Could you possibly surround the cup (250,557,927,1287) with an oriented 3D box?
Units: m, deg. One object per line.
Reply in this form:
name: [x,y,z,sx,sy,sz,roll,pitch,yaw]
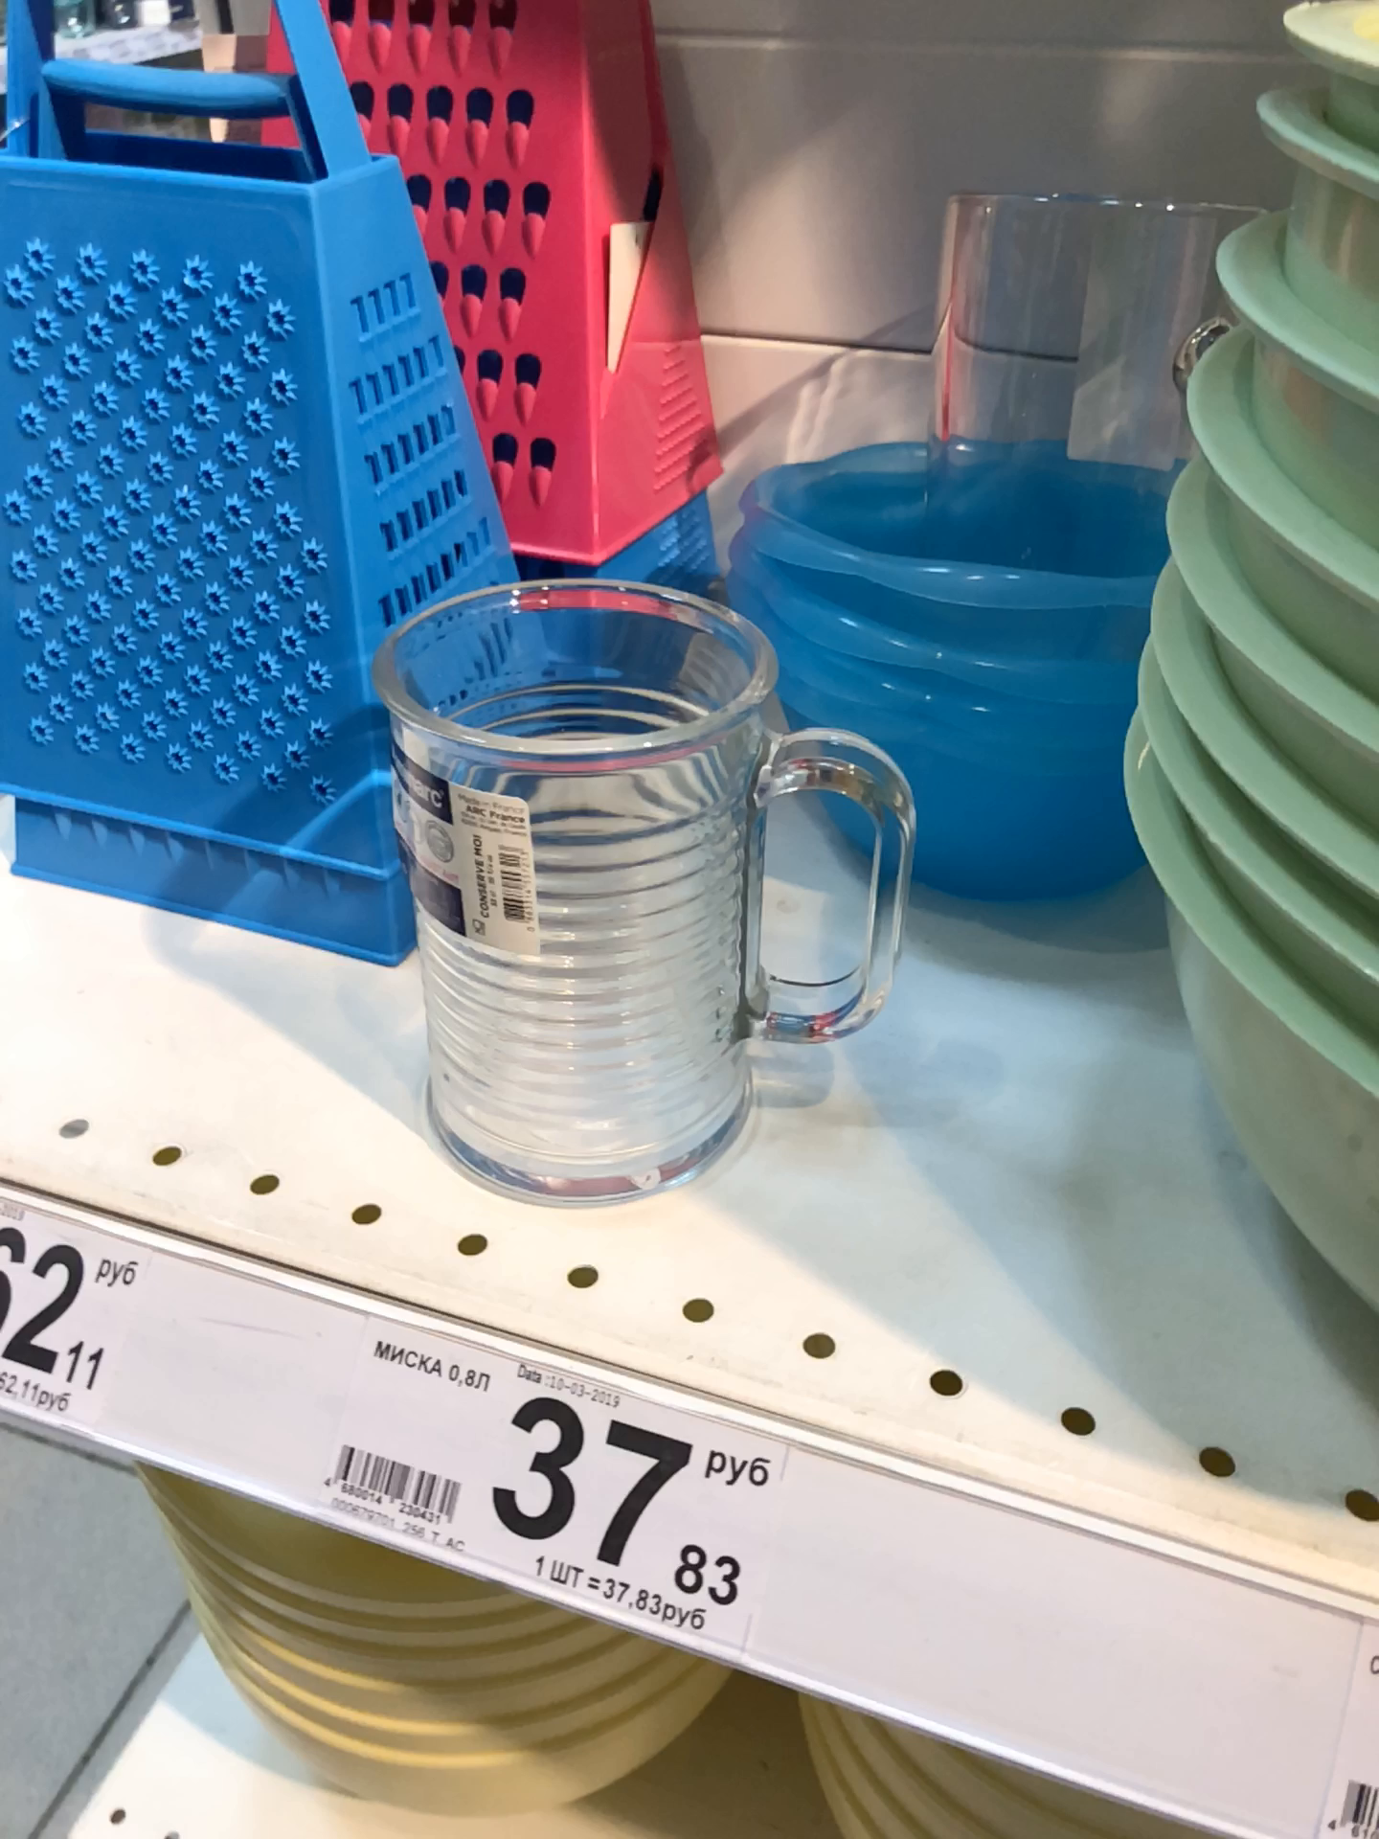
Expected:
cup: [-0.014,-0.004,0.316,0.102,0.104,0.087,10,37,16]
